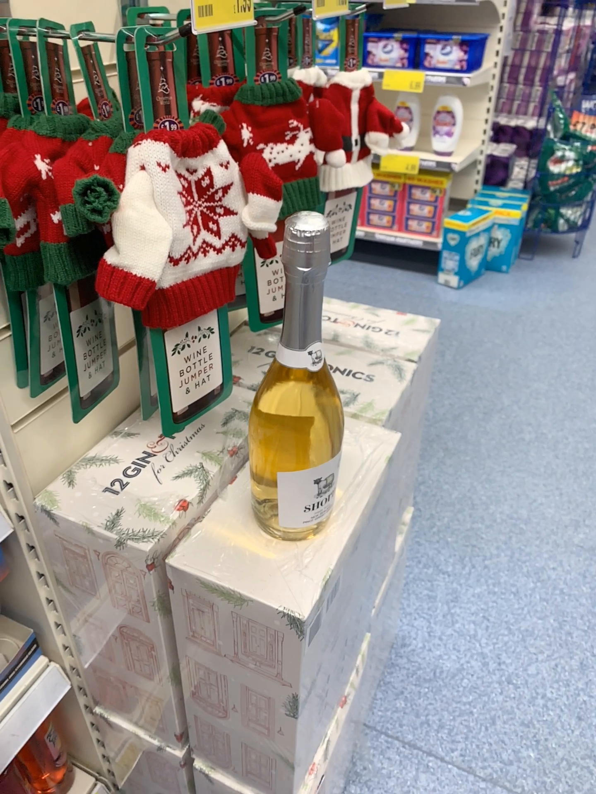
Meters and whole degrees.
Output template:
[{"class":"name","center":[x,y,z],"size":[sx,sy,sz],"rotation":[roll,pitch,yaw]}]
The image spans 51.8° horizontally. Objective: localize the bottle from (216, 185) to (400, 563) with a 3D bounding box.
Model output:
[{"class":"bottle","center":[0.008,-0.011,0.529],"size":[0.095,0.299,0.095],"rotation":[0,34,0]}]
